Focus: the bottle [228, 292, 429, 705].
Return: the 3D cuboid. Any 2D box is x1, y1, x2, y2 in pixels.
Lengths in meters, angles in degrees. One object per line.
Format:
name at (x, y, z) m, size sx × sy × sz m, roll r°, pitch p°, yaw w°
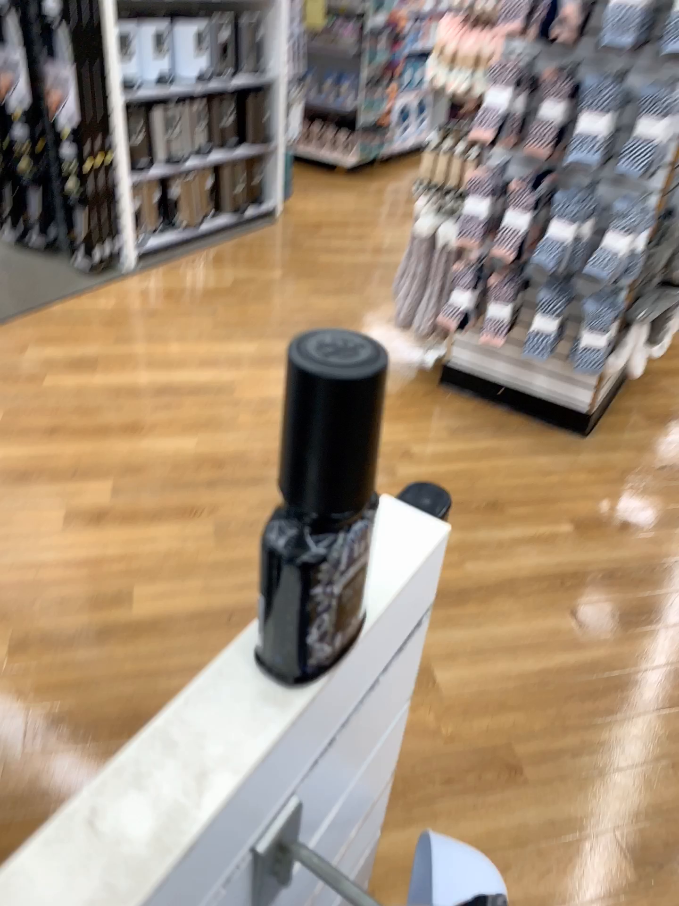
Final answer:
bottle at (-0.006, 0.018, 0.224) m, size 0.032 × 0.123 × 0.050 m, roll 24°, pitch 40°, yaw 24°
